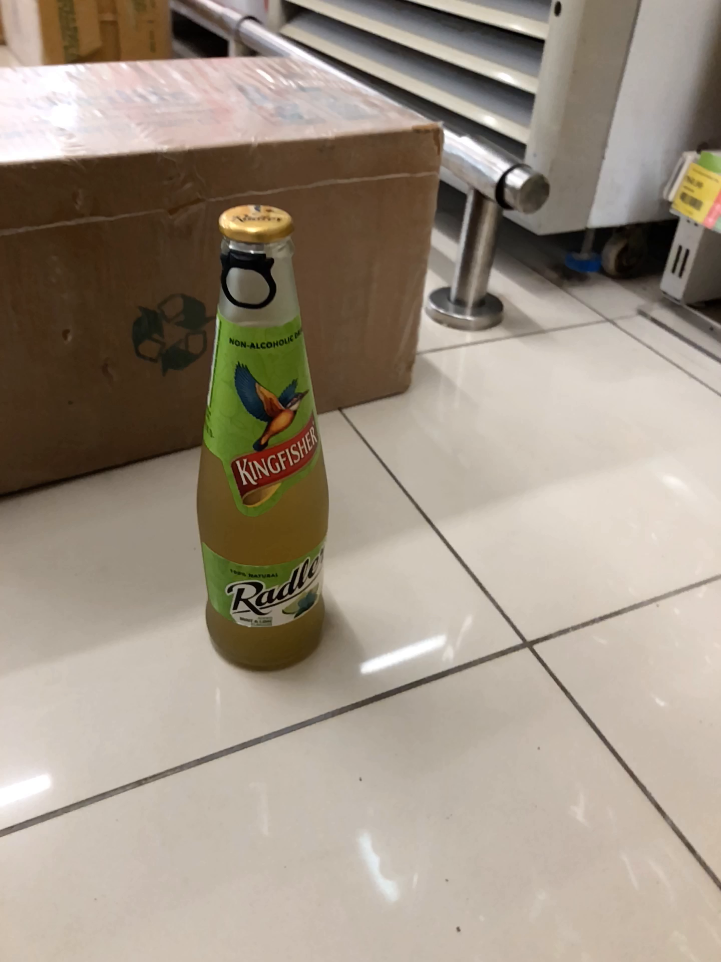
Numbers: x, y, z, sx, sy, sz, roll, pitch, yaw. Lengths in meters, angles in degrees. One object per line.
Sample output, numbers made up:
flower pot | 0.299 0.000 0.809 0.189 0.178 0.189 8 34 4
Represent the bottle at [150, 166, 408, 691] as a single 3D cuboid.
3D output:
bottle | -0.036 -0.013 0.335 0.070 0.209 0.060 -14 41 -23
